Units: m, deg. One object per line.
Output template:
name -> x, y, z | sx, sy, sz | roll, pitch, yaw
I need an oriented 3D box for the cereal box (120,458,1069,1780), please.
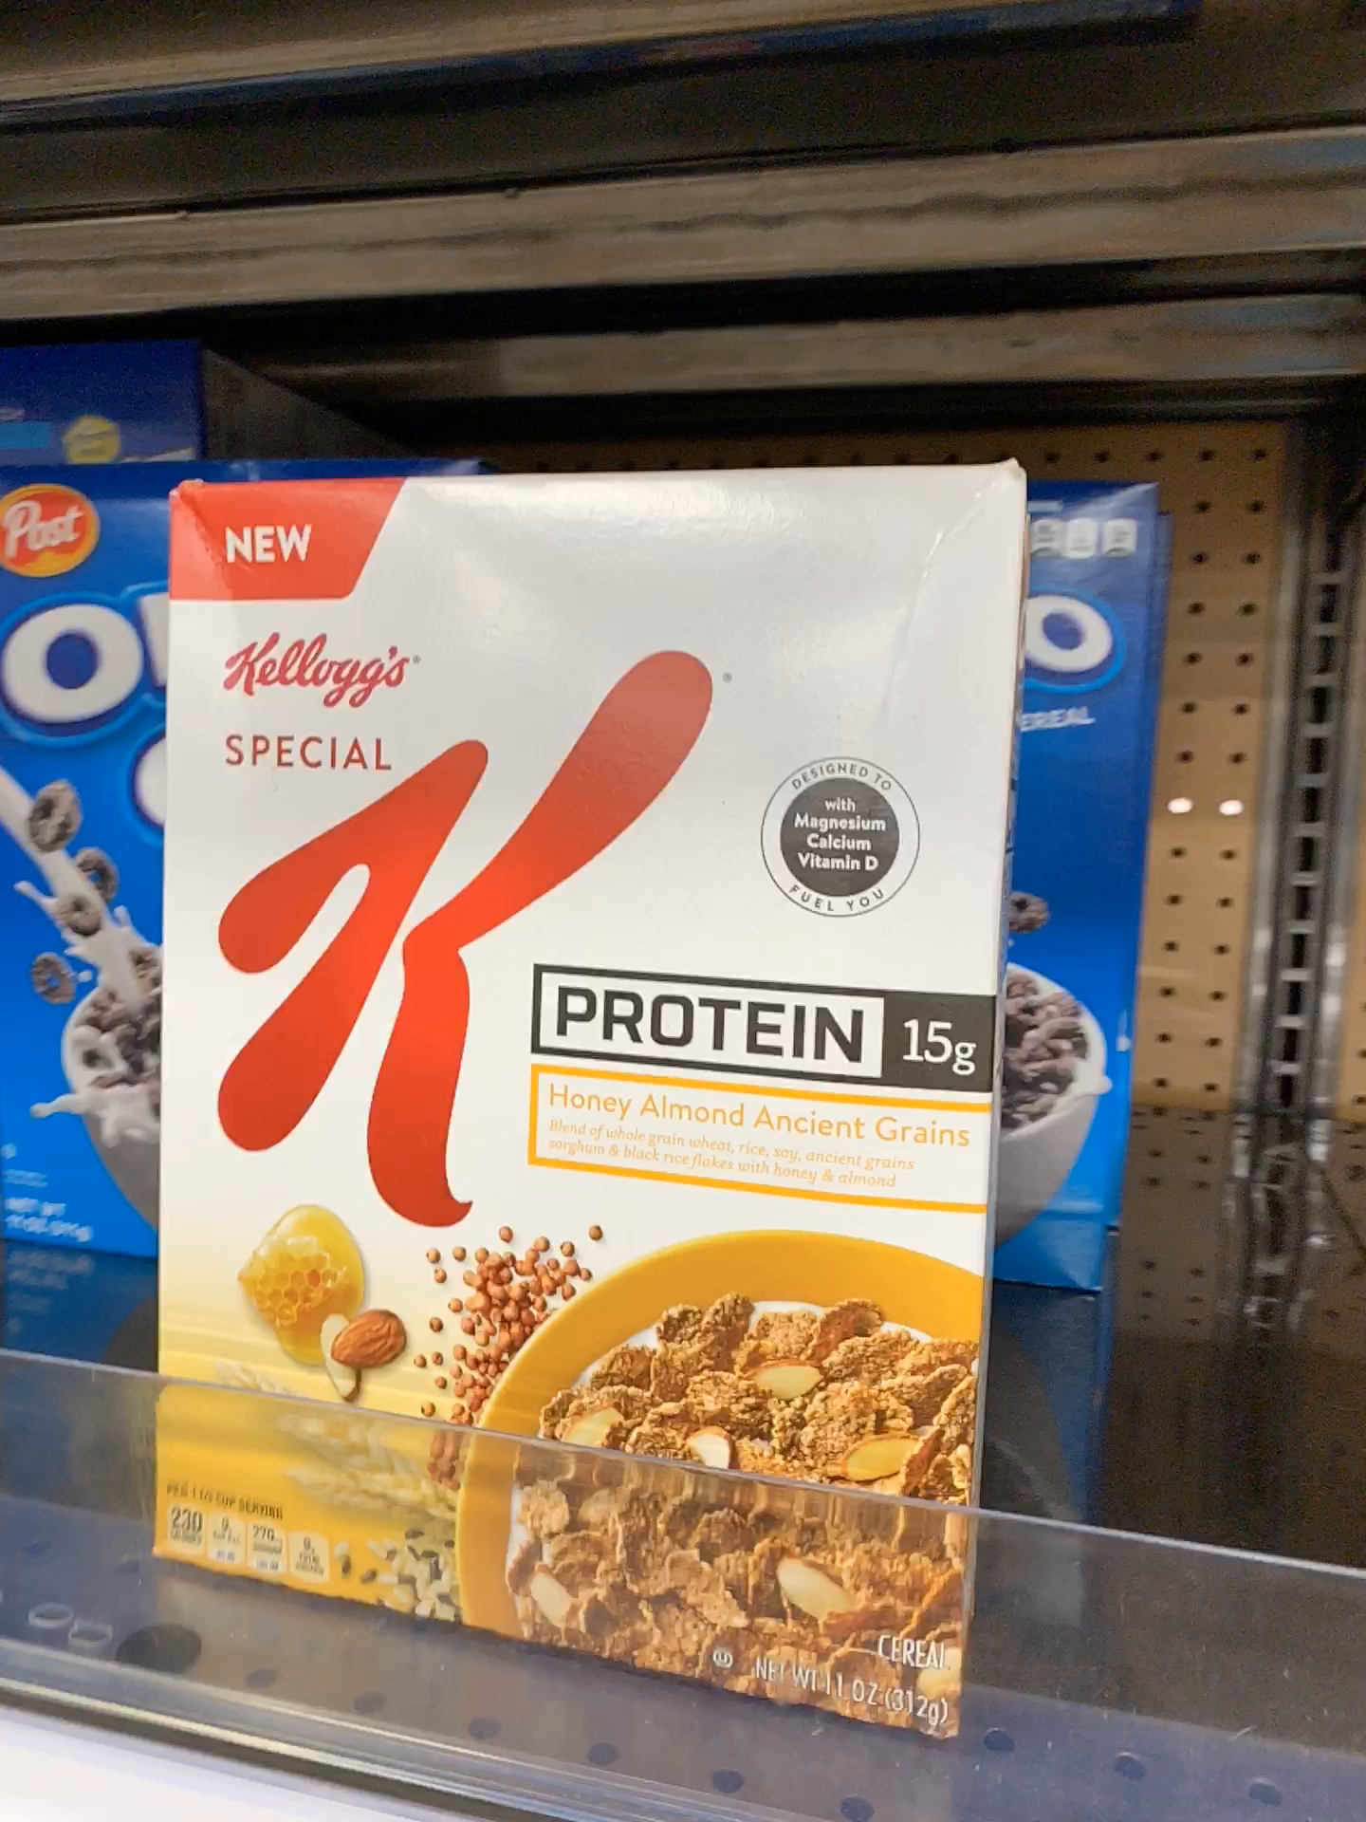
cereal box -> -0.025, 0.035, 0.313 | 0.200, 0.250, 0.040 | 3, 3, 17
